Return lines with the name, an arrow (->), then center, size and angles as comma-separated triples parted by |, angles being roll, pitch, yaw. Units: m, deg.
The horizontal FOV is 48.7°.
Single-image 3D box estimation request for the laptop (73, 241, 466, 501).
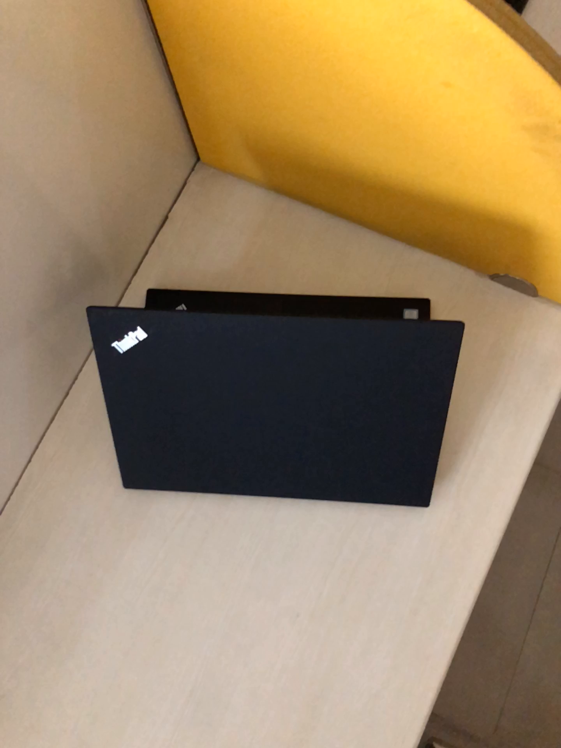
laptop -> -0.005, 0.003, 0.666 | 0.349, 0.167, 0.240 | 2, 74, 5
